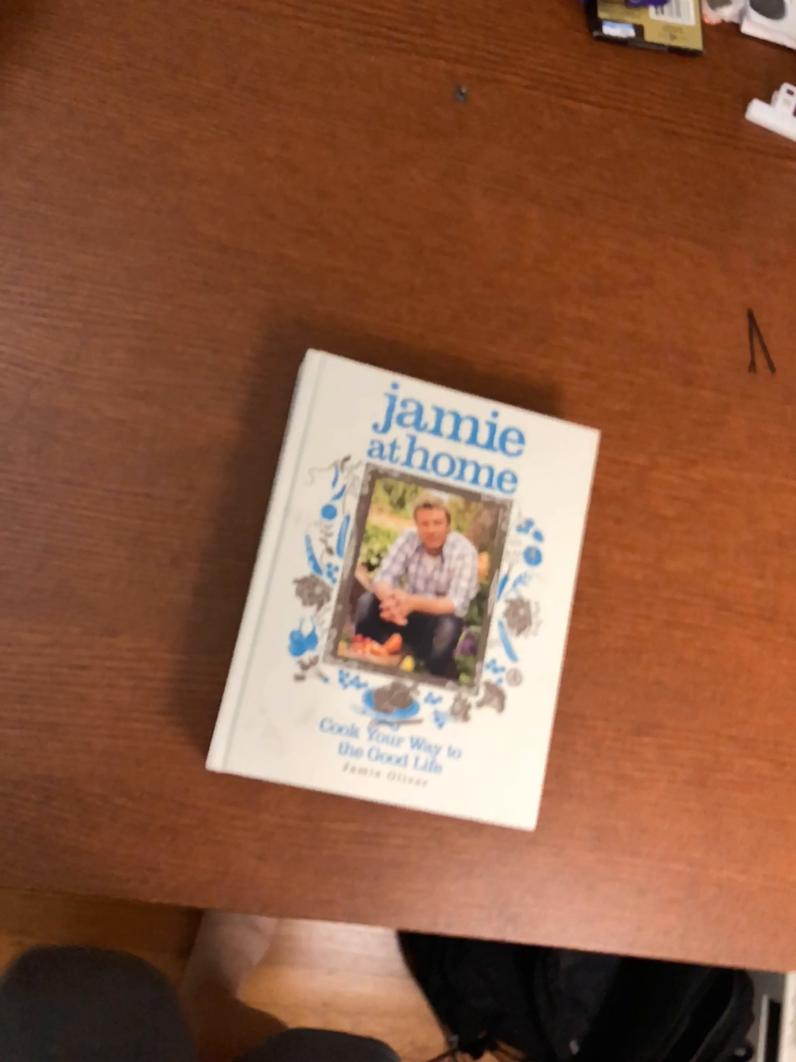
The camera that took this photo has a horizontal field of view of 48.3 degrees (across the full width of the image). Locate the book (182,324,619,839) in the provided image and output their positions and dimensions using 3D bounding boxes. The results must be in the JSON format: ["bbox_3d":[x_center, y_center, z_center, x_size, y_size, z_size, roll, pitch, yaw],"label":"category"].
[{"bbox_3d":[0.009,0.029,0.537,0.210,0.040,0.260,14,77,-9],"label":"book"}]
